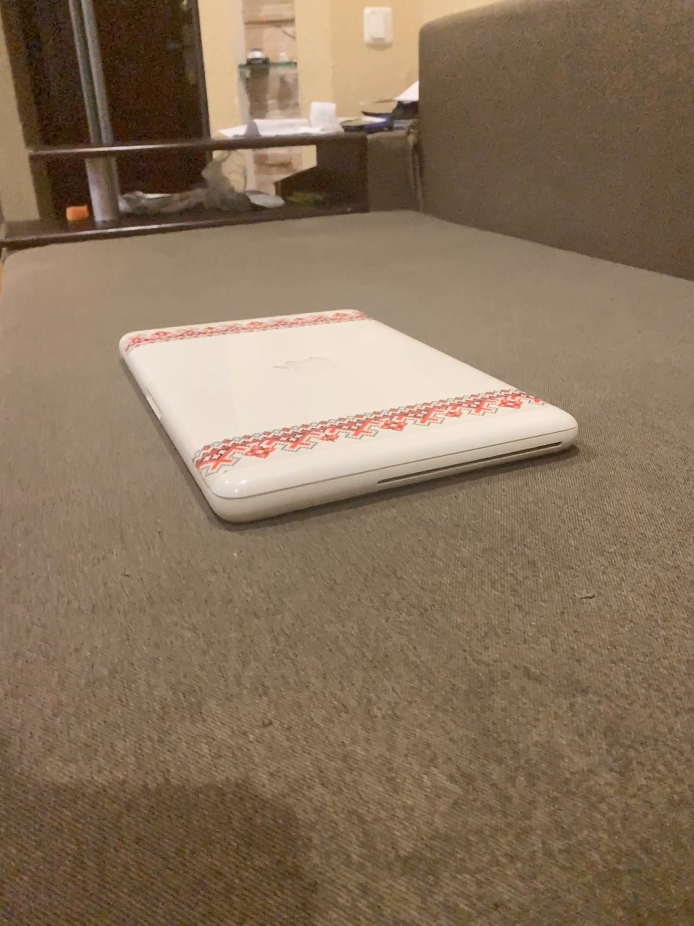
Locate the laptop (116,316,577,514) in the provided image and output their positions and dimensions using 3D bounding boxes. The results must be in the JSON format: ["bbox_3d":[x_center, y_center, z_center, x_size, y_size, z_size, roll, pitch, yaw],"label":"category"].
[{"bbox_3d":[-0.031,-0.060,0.534,0.222,0.003,0.326,-13,28,-22],"label":"laptop"}]
